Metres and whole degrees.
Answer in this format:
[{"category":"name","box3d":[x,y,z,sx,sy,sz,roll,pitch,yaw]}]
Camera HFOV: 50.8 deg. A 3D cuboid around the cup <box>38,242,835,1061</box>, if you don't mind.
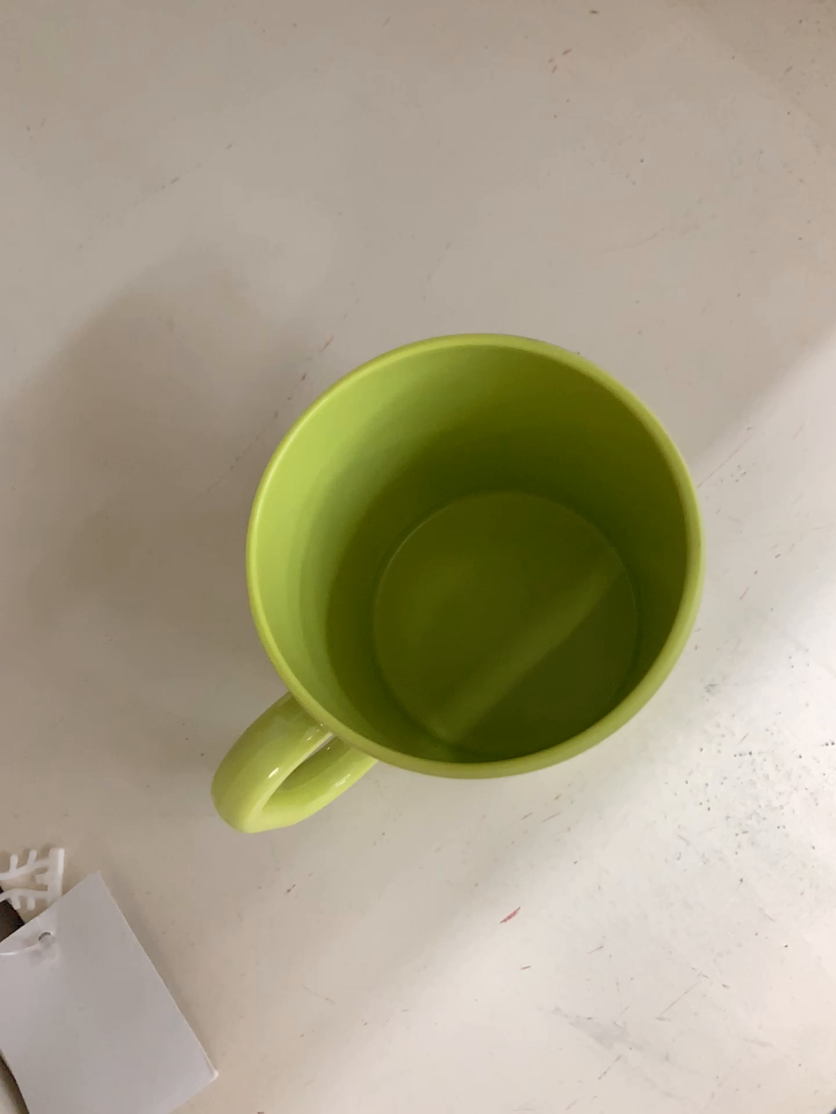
[{"category":"cup","box3d":[0.005,0.014,0.156,0.077,0.063,0.089,37,85,18]}]
